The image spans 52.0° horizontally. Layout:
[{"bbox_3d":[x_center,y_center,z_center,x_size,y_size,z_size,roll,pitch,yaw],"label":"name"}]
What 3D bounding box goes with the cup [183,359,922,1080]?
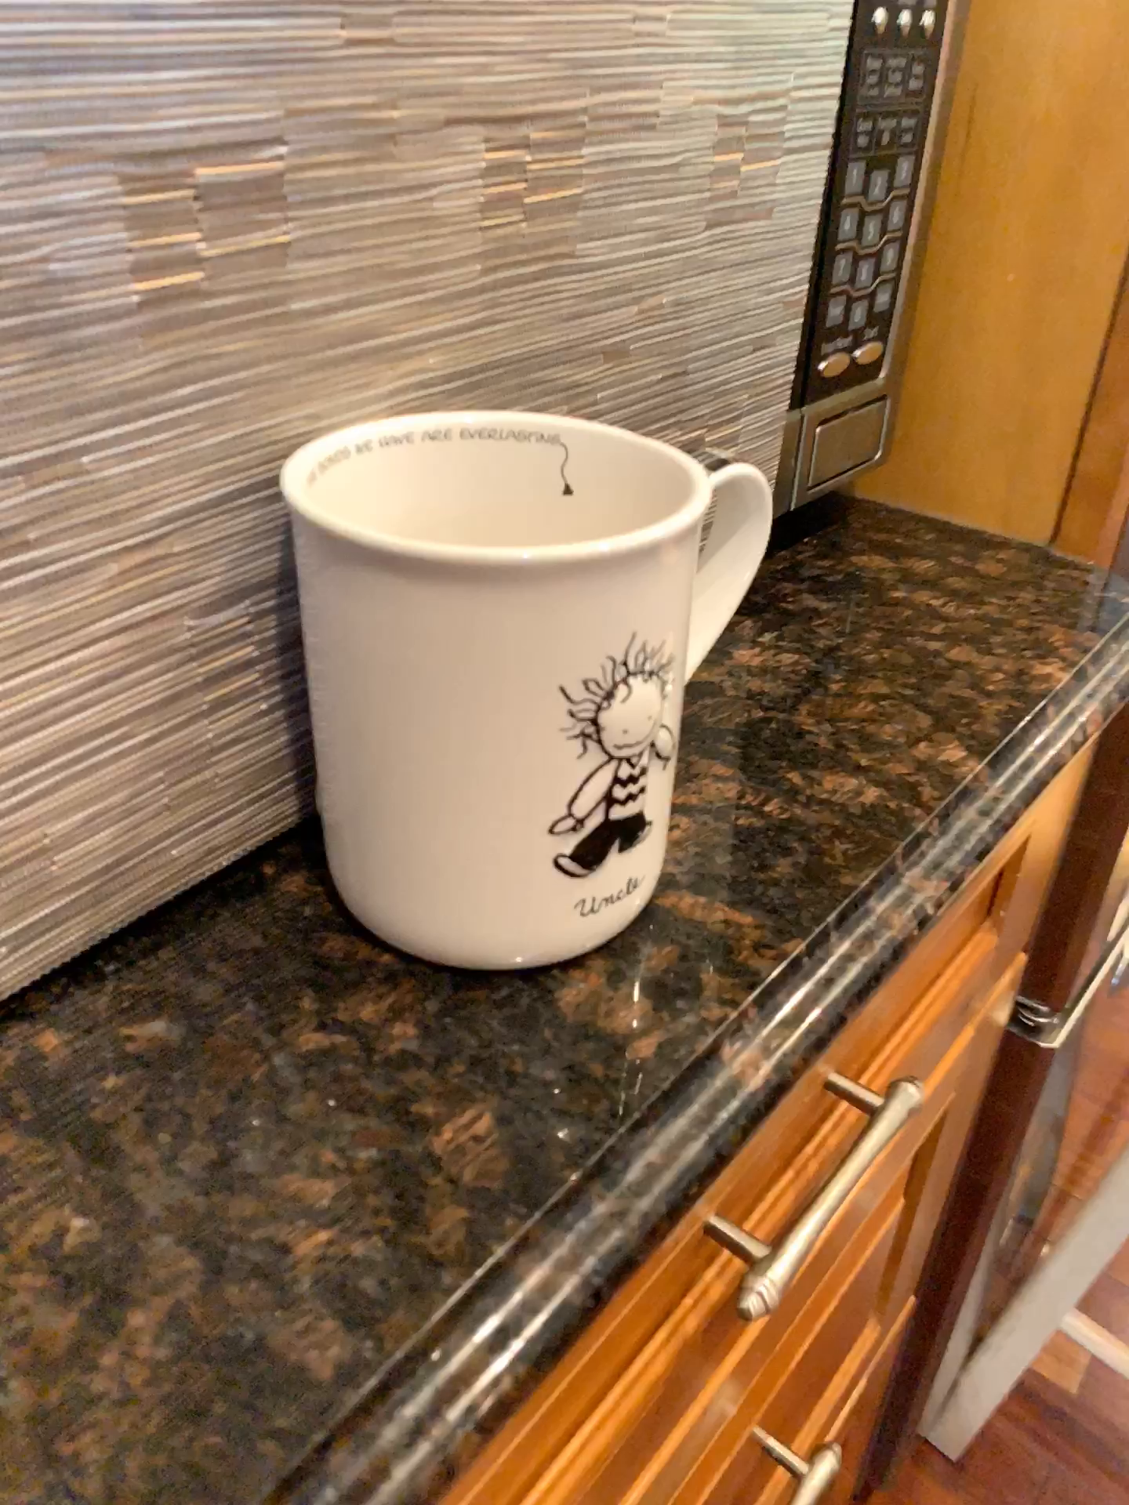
[{"bbox_3d":[-0.001,-0.021,0.284,0.100,0.109,0.130,29,41,36],"label":"cup"}]
